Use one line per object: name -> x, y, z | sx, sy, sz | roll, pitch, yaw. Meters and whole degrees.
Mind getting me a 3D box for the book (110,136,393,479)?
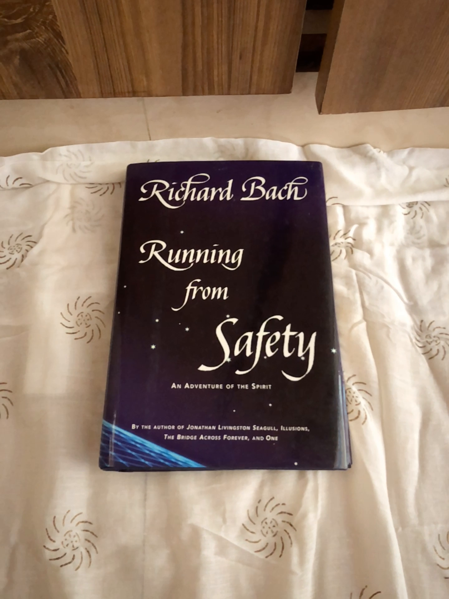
book -> 0.016, -0.003, 0.367 | 0.170, 0.040, 0.250 | 2, 65, -5
